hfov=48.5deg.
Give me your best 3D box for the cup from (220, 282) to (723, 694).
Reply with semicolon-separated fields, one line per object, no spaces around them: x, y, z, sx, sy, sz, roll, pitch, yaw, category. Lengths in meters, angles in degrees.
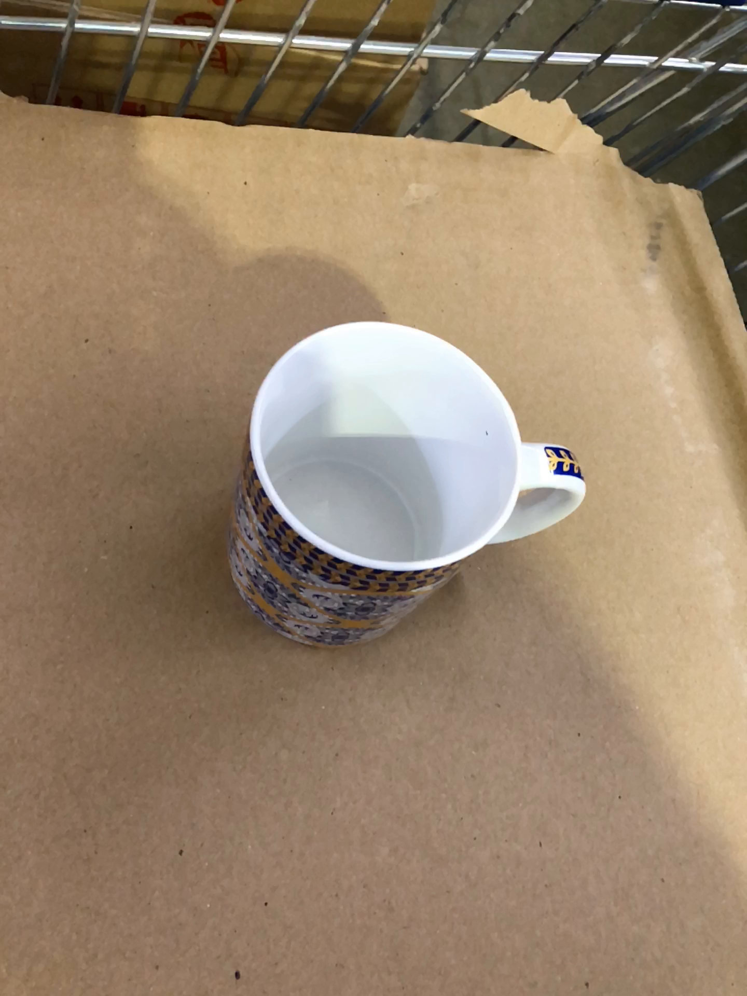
0.021;-0.001;0.274;0.120;0.100;0.080;-11;66;-19;cup
